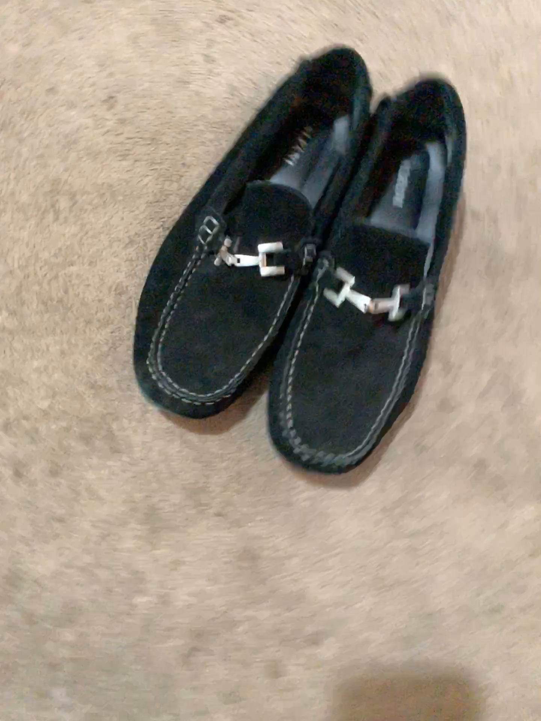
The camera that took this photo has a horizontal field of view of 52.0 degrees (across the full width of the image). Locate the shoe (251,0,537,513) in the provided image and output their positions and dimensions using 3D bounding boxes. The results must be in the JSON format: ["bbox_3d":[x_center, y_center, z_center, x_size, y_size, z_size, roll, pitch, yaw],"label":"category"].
[{"bbox_3d":[0.078,-0.066,0.364,0.100,0.100,0.301,16,76,0],"label":"shoe"}]

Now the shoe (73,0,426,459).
[{"bbox_3d":[-0.003,-0.100,0.359,0.100,0.100,0.301,20,76,1],"label":"shoe"}]
